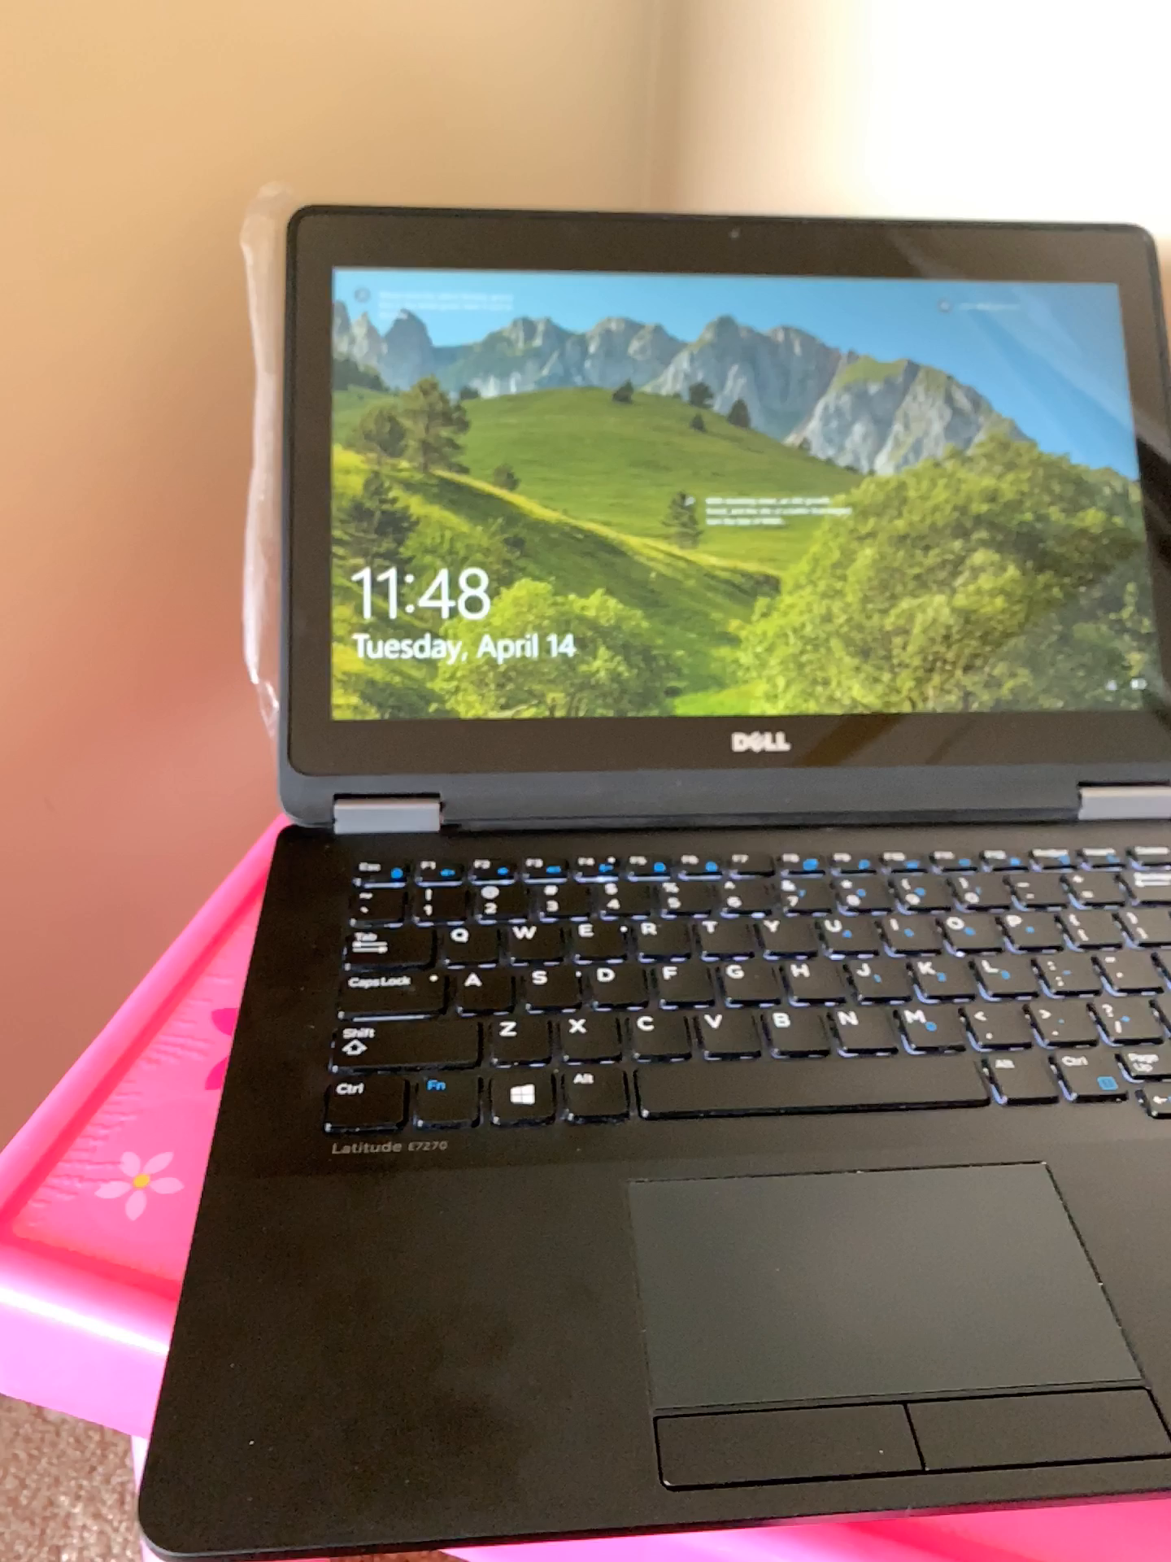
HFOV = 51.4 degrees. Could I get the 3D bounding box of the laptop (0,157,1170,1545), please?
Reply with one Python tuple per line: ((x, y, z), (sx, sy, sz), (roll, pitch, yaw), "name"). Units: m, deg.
((0.055, -0.032, 0.280), (0.261, 0.121, 0.303), (-1, 40, -6), "laptop")
